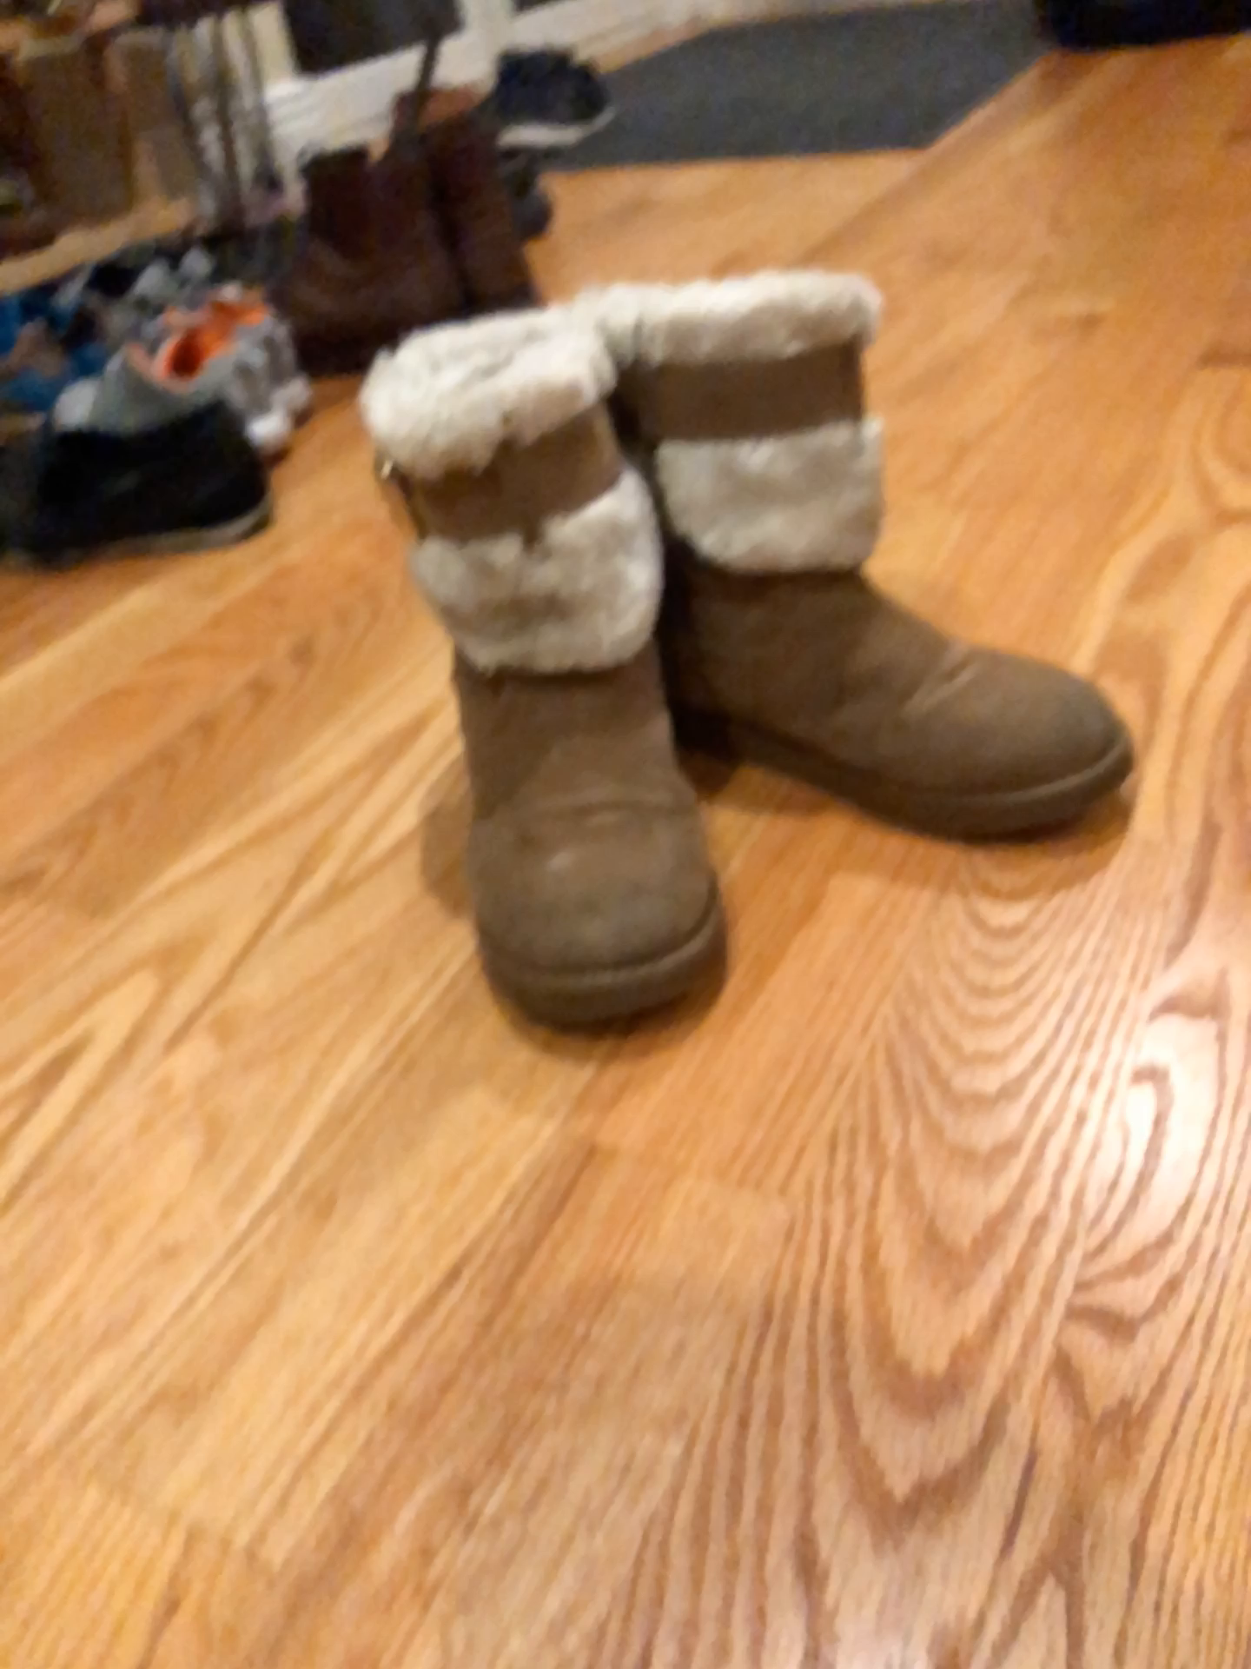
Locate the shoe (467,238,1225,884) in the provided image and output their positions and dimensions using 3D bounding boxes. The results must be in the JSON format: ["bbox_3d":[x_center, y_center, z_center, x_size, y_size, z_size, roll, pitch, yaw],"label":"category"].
[{"bbox_3d":[0.084,-0.123,0.565,0.255,0.193,0.113,19,43,36],"label":"shoe"}]

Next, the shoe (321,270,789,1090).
[{"bbox_3d":[-0.033,-0.074,0.520,0.106,0.193,0.256,-13,34,-3],"label":"shoe"}]
